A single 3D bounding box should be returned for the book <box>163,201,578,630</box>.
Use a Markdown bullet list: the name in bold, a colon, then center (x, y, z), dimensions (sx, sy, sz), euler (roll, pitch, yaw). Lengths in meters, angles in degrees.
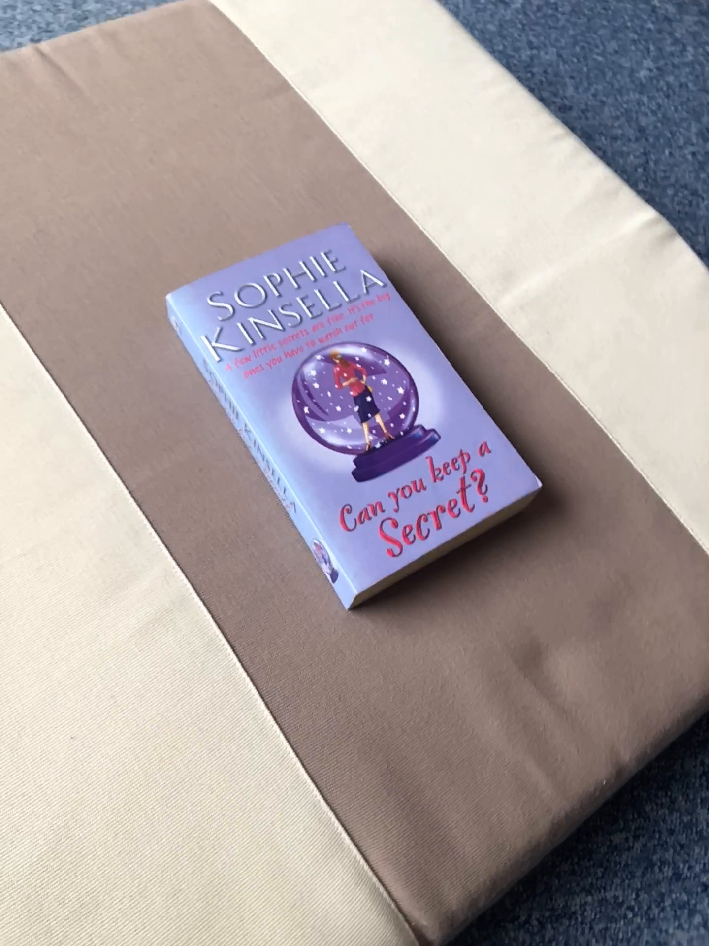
- **book**: center (0.002, -0.035, 0.372), dimensions (0.110, 0.040, 0.180), euler (-27, 71, -20)
